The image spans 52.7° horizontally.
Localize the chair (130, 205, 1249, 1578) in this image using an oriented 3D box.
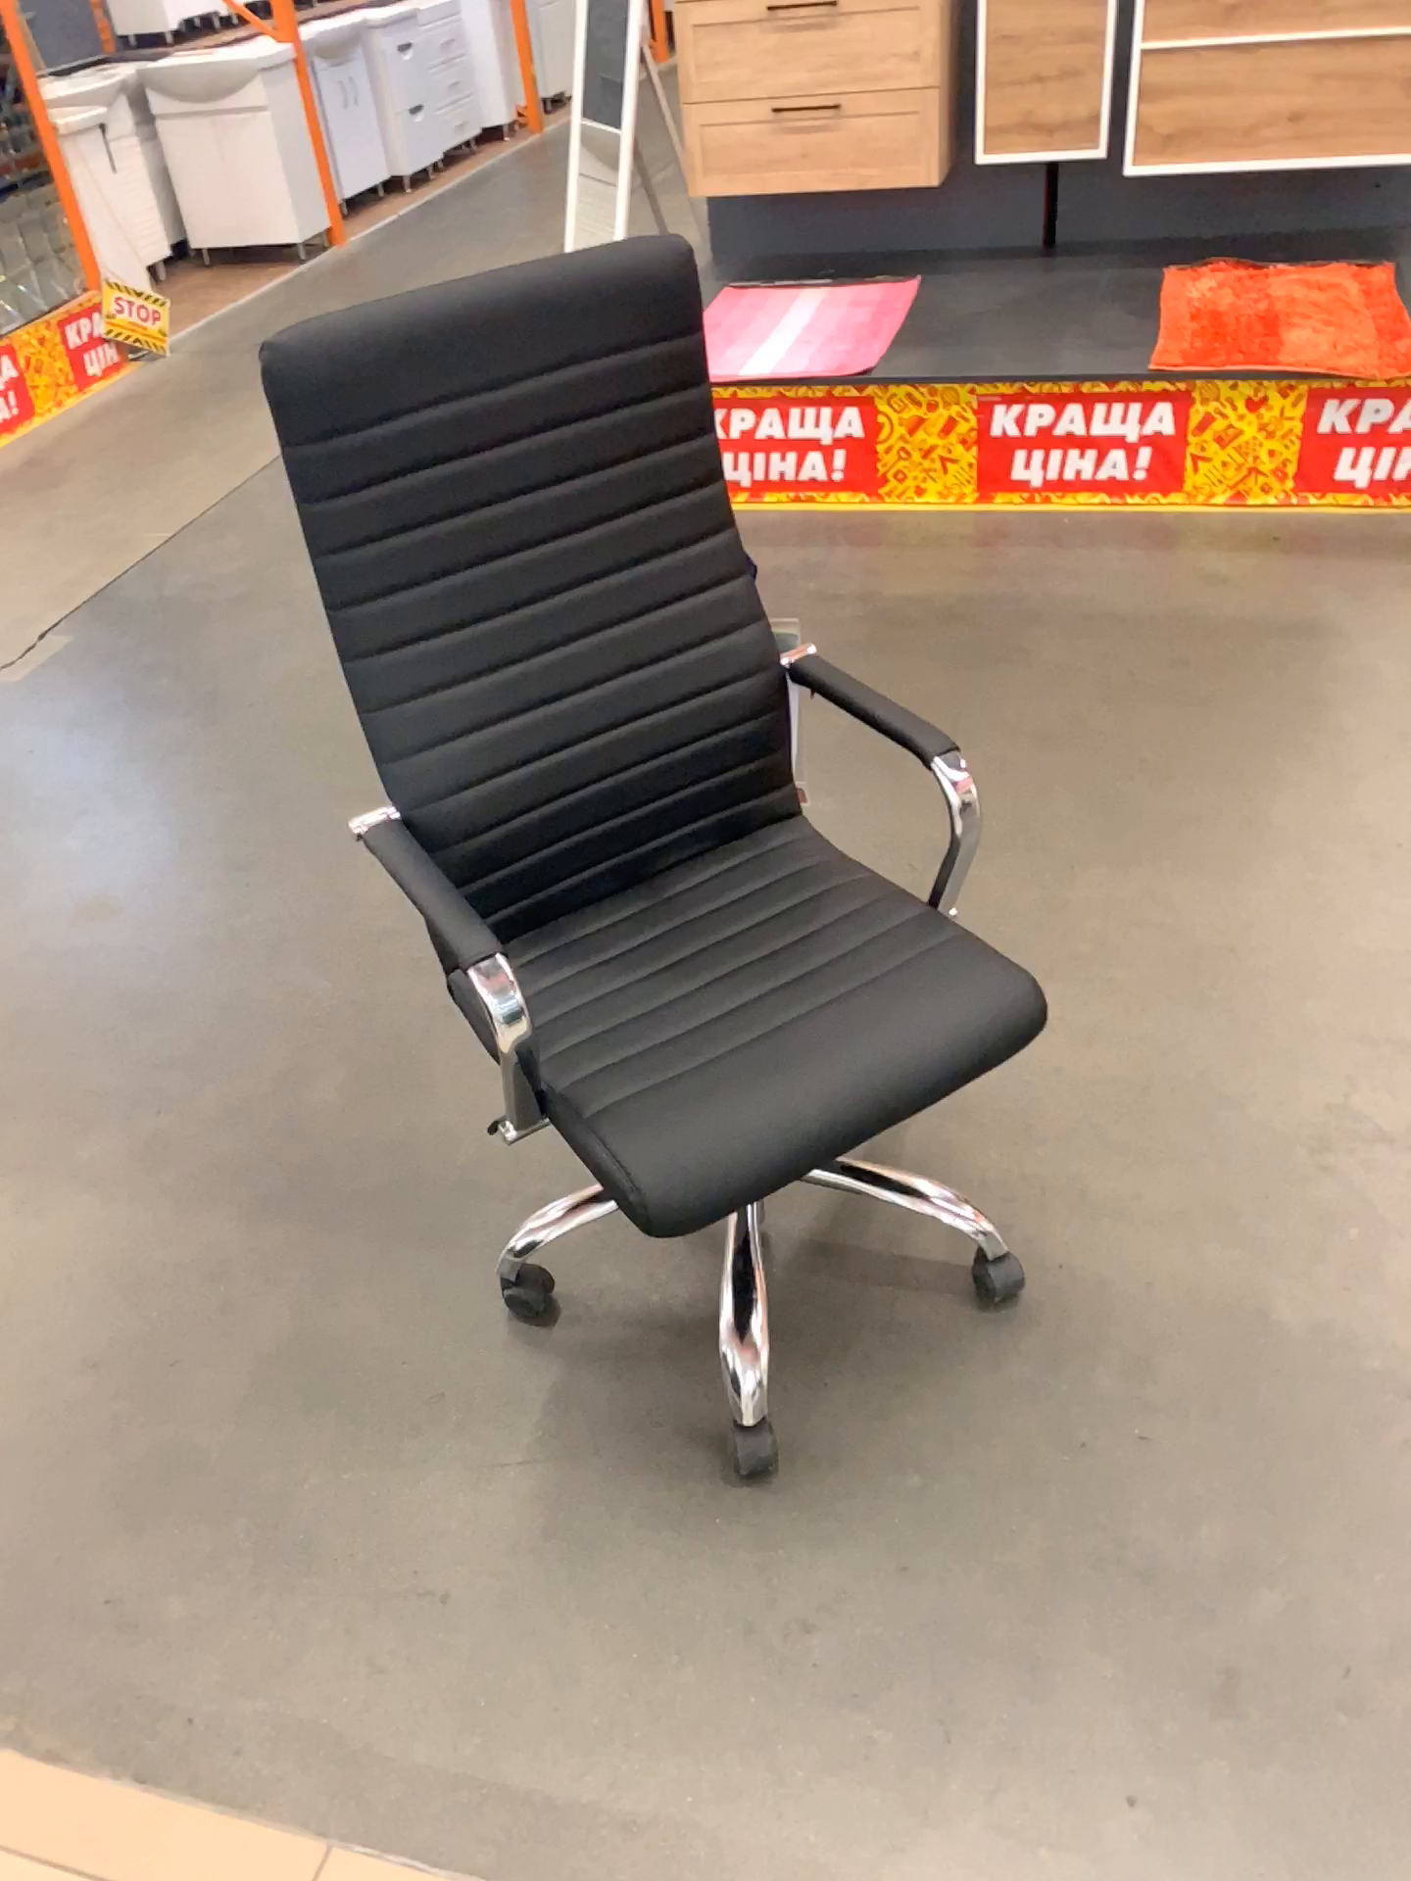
[{"bbox_3d":[-0.005,-0.071,1.482,0.651,1.074,0.683,-25,41,-23],"label":"chair"}]
